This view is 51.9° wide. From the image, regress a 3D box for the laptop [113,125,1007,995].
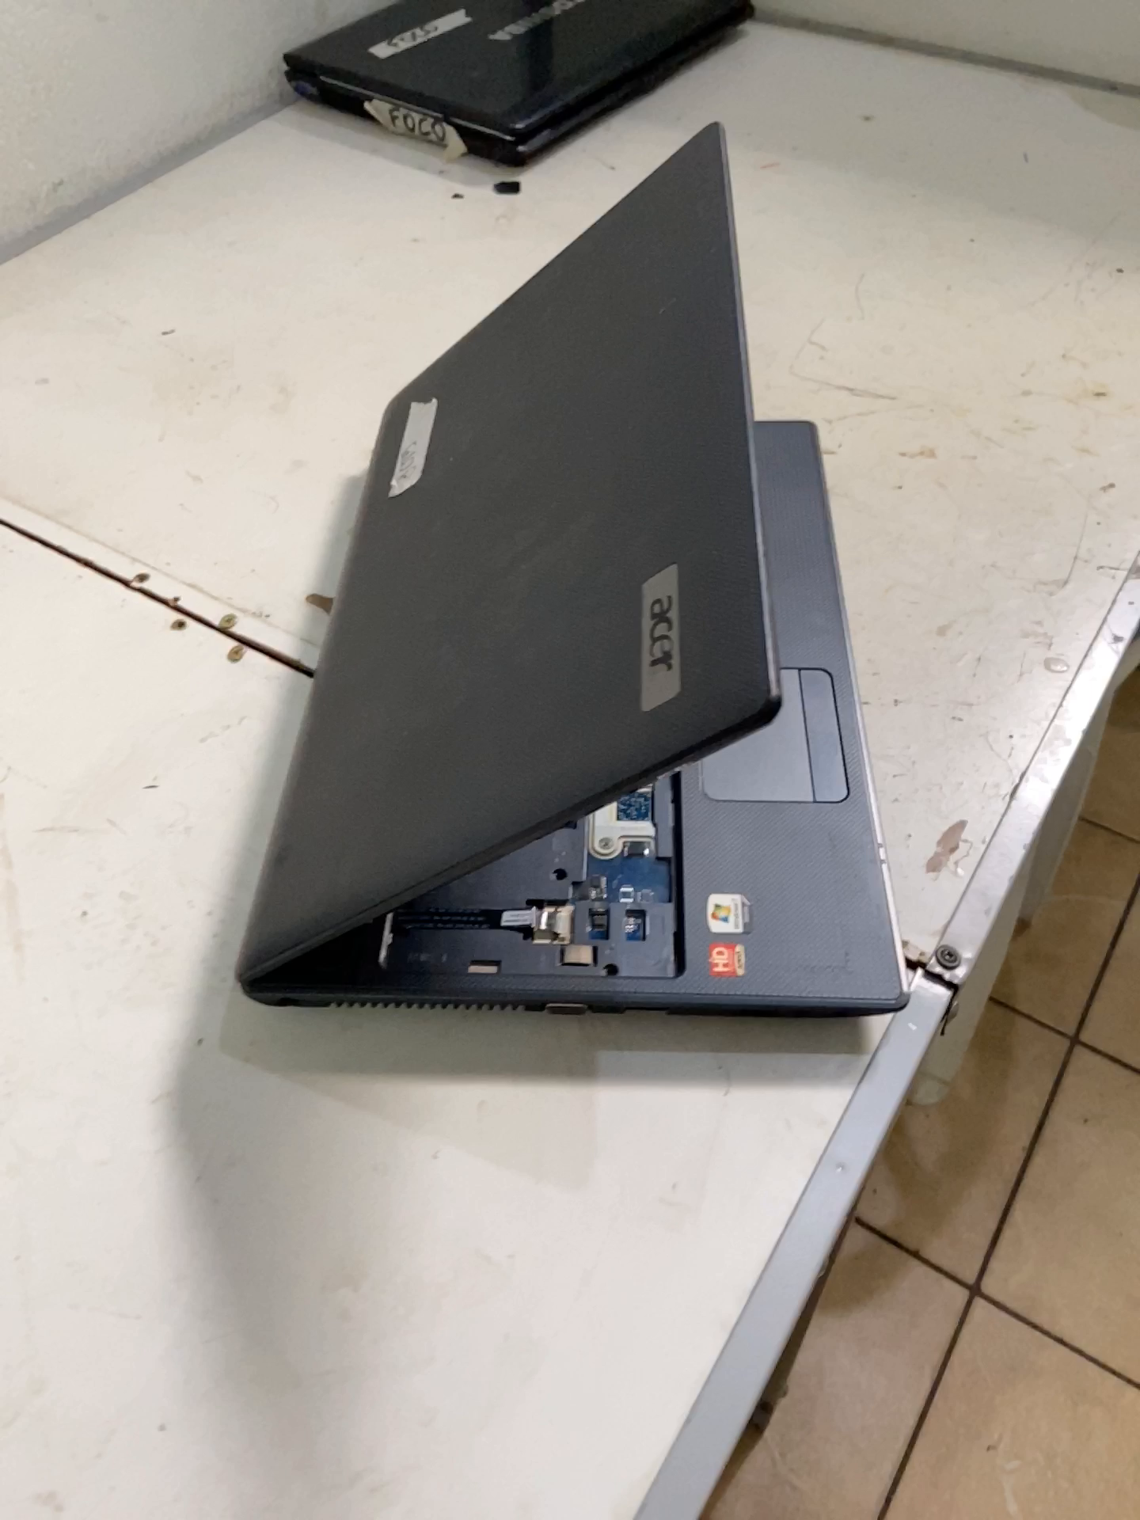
[{"bbox_3d":[0.008,-0.107,0.493,0.239,0.156,0.372,1,49,4],"label":"laptop"}]
